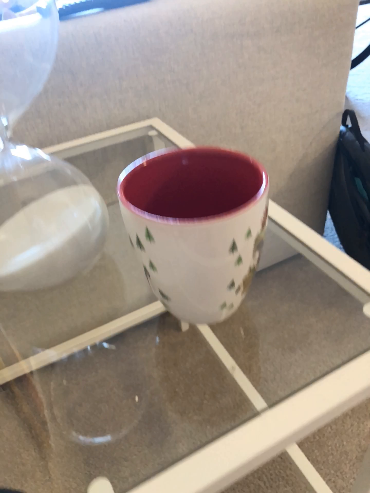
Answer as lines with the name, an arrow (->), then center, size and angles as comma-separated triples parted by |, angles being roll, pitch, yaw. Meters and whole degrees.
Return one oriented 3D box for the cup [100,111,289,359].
cup -> 0.006, -0.016, 0.311 | 0.100, 0.110, 0.151 | -6, 38, 1
